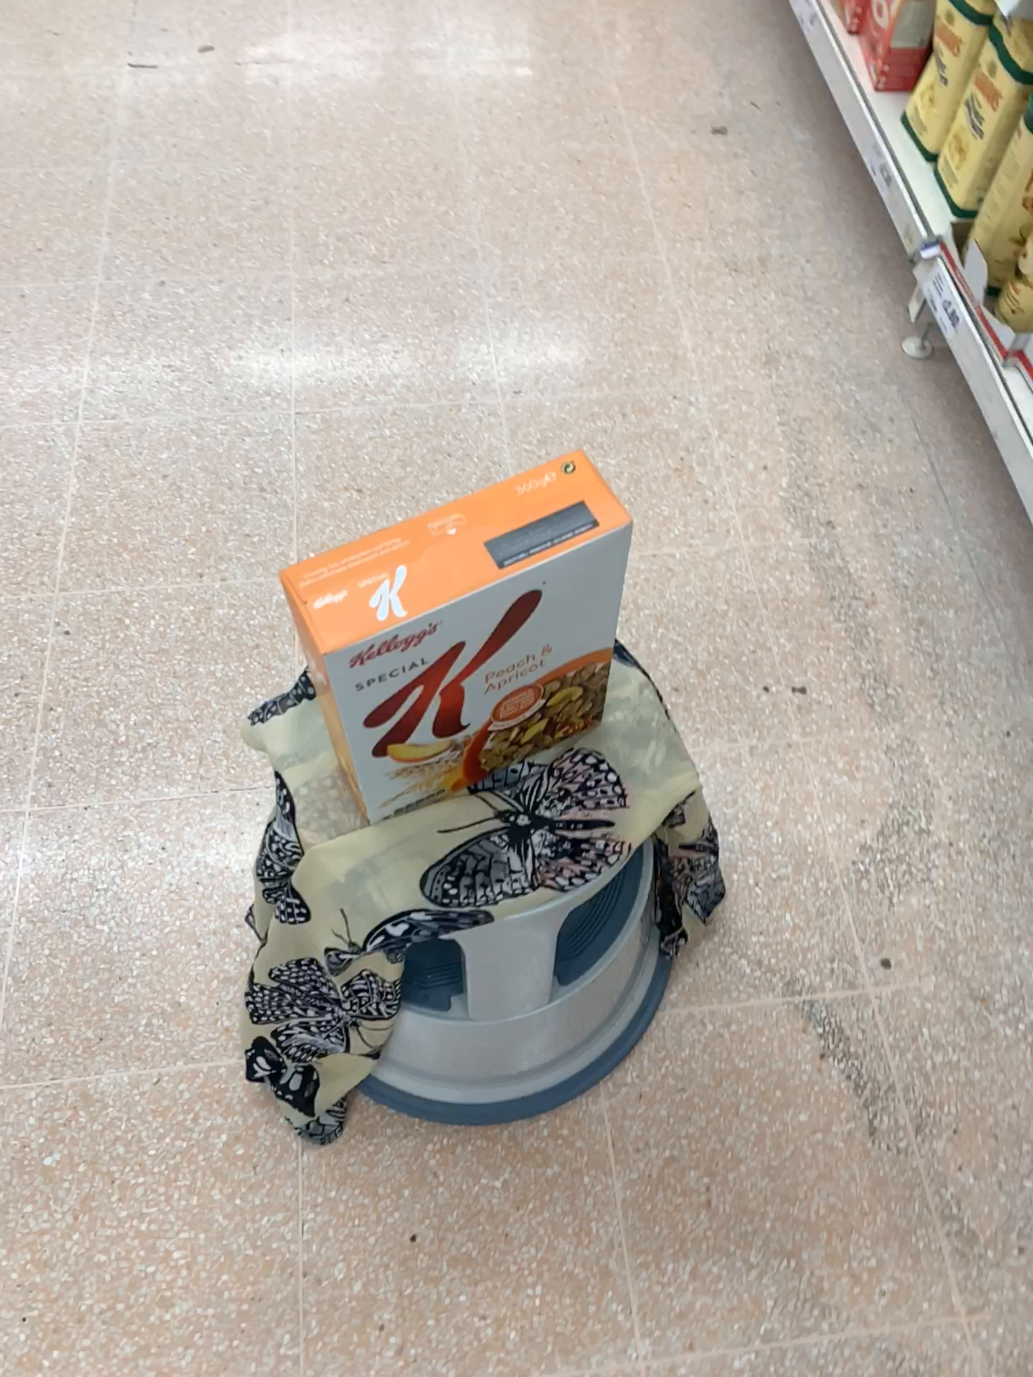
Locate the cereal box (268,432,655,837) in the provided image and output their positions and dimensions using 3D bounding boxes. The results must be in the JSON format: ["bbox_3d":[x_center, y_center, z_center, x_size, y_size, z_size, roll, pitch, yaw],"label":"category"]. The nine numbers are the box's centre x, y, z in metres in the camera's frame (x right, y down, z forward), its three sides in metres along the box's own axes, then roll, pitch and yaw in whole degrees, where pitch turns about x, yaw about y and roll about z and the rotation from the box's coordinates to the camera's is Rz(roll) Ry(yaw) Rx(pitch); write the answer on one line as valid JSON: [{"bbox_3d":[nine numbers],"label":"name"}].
[{"bbox_3d":[-0.032,-0.021,0.701,0.210,0.268,0.060,-24,64,-15],"label":"cereal box"}]
